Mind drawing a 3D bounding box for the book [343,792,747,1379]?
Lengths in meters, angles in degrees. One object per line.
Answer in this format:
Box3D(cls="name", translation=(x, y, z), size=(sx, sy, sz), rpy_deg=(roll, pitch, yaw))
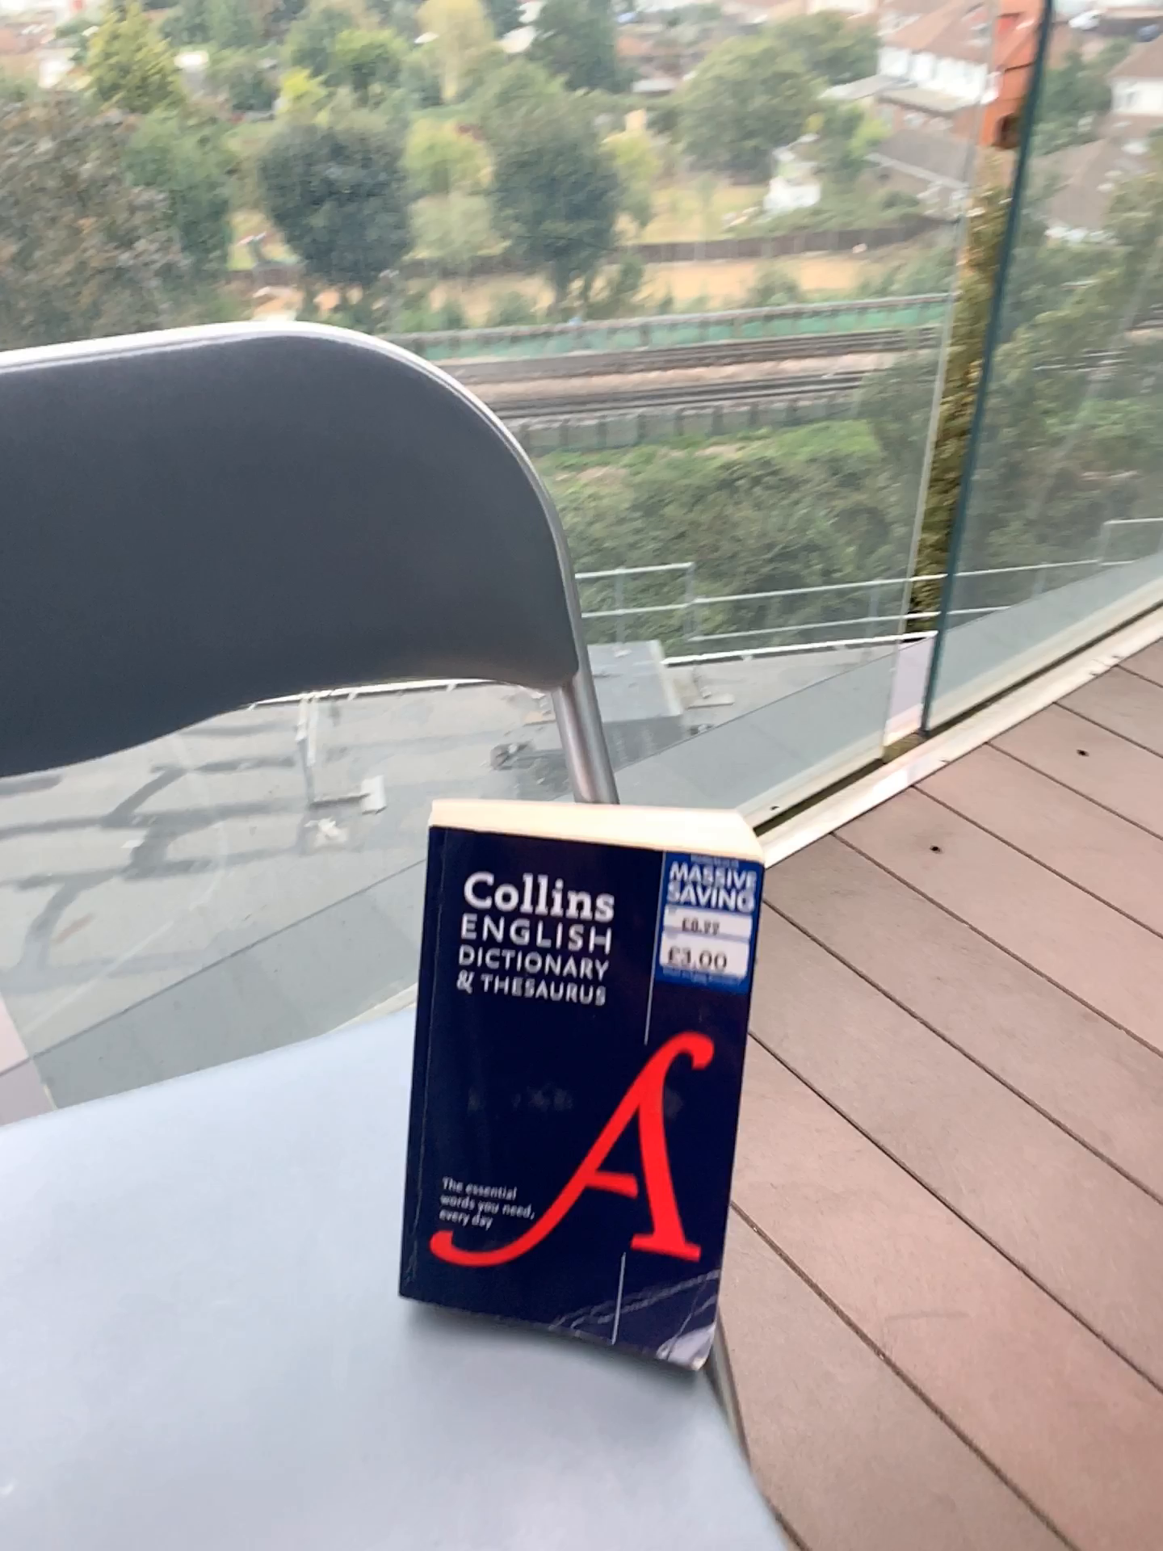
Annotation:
Box3D(cls="book", translation=(-0.015, 0.117, 0.470), size=(0.140, 0.199, 0.060), rpy_deg=(5, 10, 10))
